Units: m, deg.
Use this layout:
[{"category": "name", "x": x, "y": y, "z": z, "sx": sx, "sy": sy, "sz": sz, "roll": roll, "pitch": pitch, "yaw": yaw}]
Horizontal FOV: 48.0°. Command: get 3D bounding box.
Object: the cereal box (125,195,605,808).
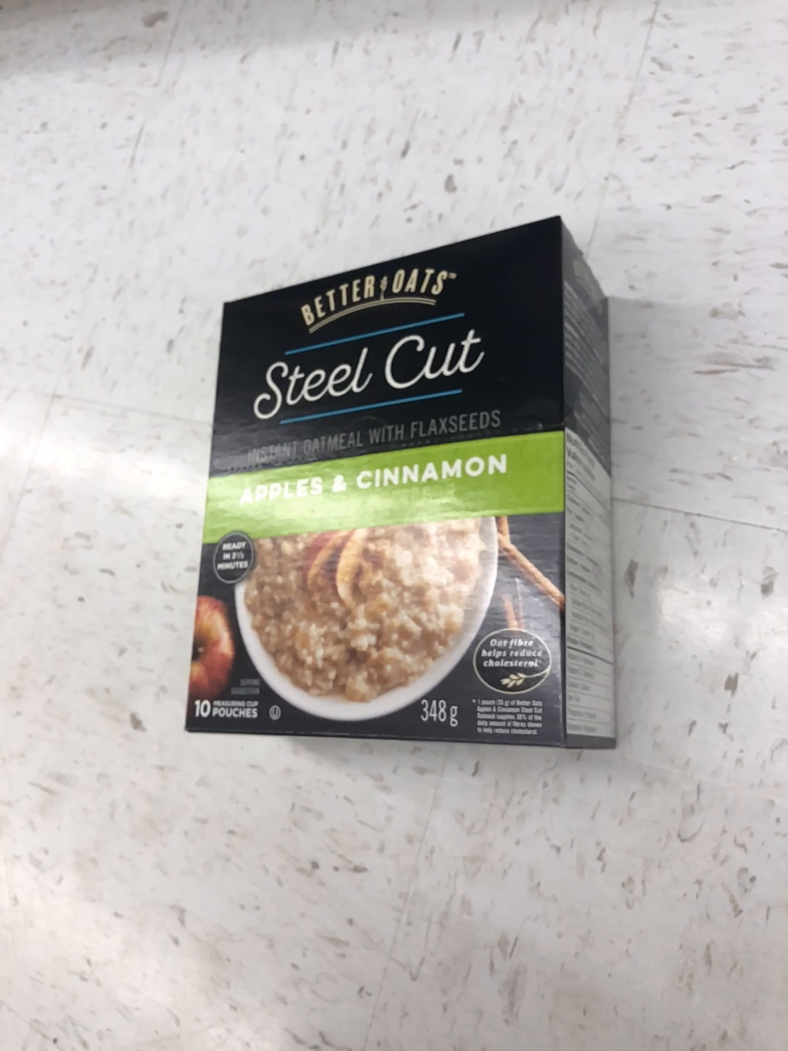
[{"category": "cereal box", "x": -0.009, "y": -0.001, "z": 0.345, "sx": 0.160, "sy": 0.070, "sz": 0.200, "roll": -6, "pitch": 74, "yaw": 28}]
